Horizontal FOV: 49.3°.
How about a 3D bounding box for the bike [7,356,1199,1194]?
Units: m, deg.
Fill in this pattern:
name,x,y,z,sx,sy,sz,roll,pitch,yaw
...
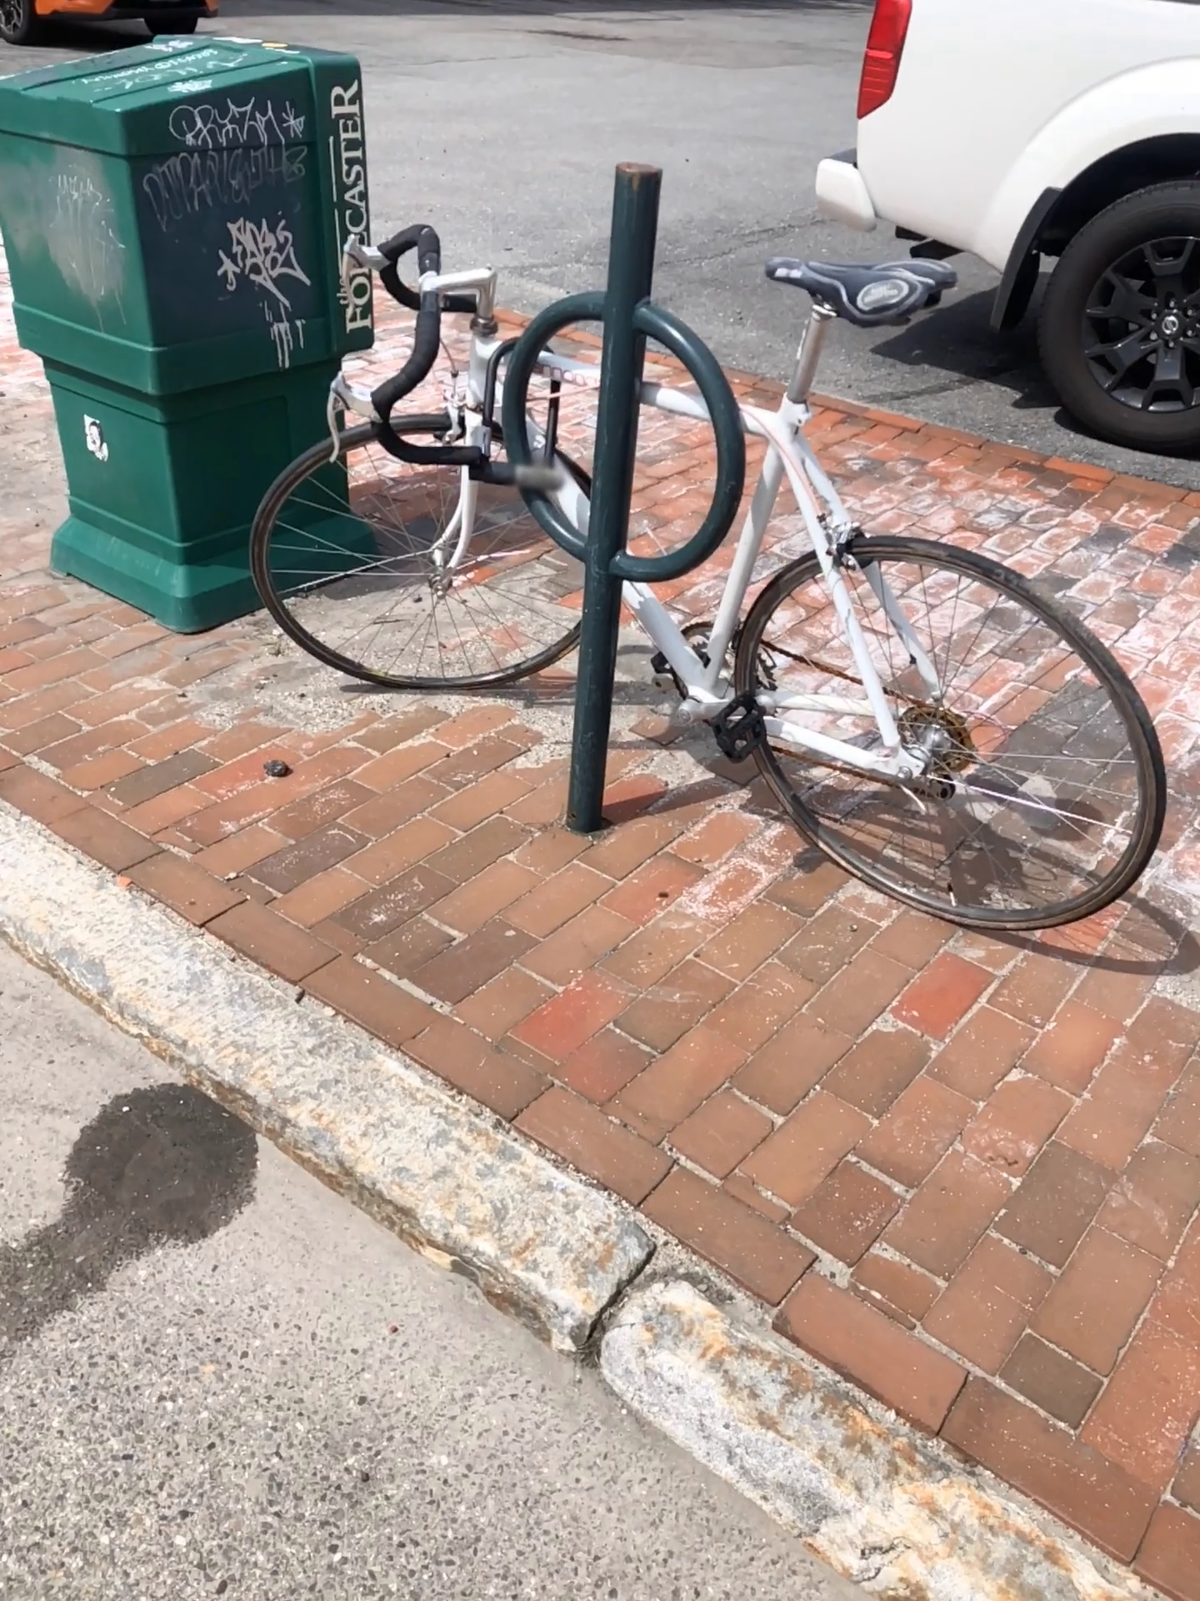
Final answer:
name,x,y,z,sx,sy,sz,roll,pitch,yaw
bike,-0.006,-0.105,1.623,1.275,0.650,0.467,17,35,23
